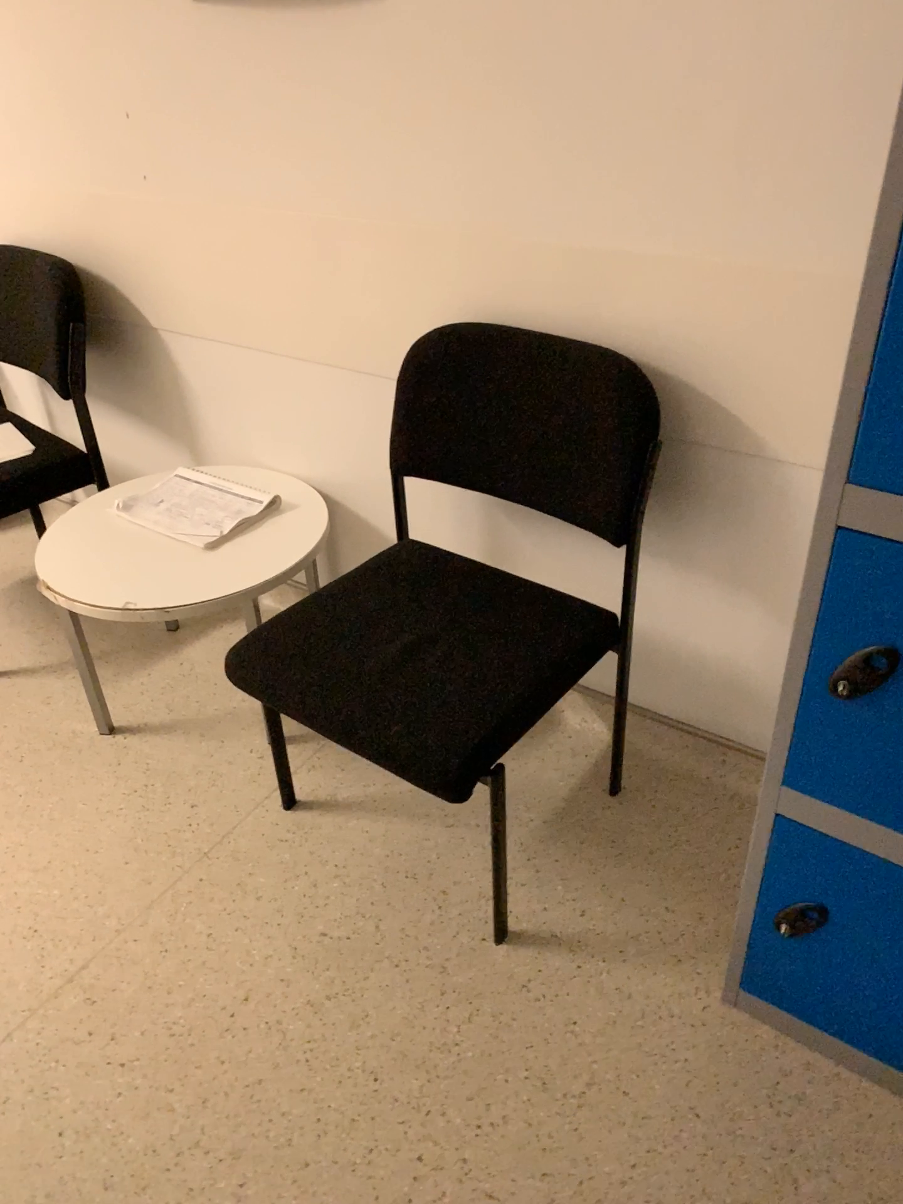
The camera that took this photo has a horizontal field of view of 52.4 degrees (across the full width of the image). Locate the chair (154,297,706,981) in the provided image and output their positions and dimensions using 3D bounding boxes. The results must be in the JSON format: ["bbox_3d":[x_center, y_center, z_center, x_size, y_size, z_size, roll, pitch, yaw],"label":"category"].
[{"bbox_3d":[-0.008,0.024,1.514,0.552,0.824,0.553,23,41,33],"label":"chair"}]
